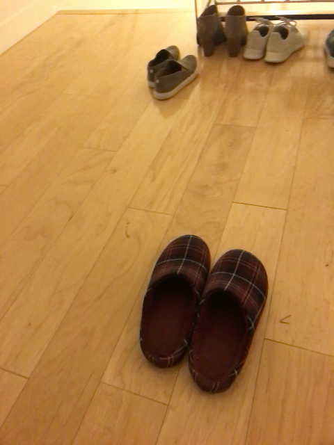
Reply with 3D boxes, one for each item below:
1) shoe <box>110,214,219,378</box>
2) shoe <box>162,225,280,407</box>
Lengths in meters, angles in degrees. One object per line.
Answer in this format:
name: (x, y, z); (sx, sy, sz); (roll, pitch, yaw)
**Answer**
shoe: (0.010, 0.116, 0.657); (0.120, 0.070, 0.282); (6, 49, 16)
shoe: (0.103, 0.140, 0.615); (0.120, 0.070, 0.282); (11, 51, 19)
